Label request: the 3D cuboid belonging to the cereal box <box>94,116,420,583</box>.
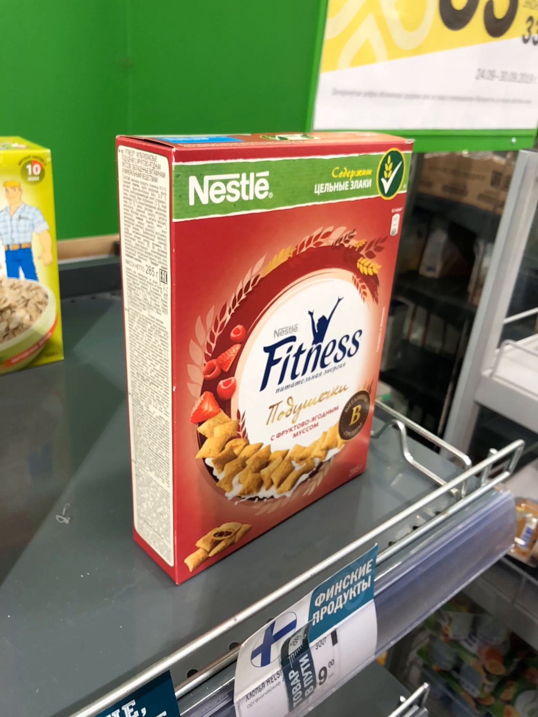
[{"bbox_3d":[-0.003,-0.017,0.380,0.191,0.249,0.060,-19,33,-41],"label":"cereal box"}]
